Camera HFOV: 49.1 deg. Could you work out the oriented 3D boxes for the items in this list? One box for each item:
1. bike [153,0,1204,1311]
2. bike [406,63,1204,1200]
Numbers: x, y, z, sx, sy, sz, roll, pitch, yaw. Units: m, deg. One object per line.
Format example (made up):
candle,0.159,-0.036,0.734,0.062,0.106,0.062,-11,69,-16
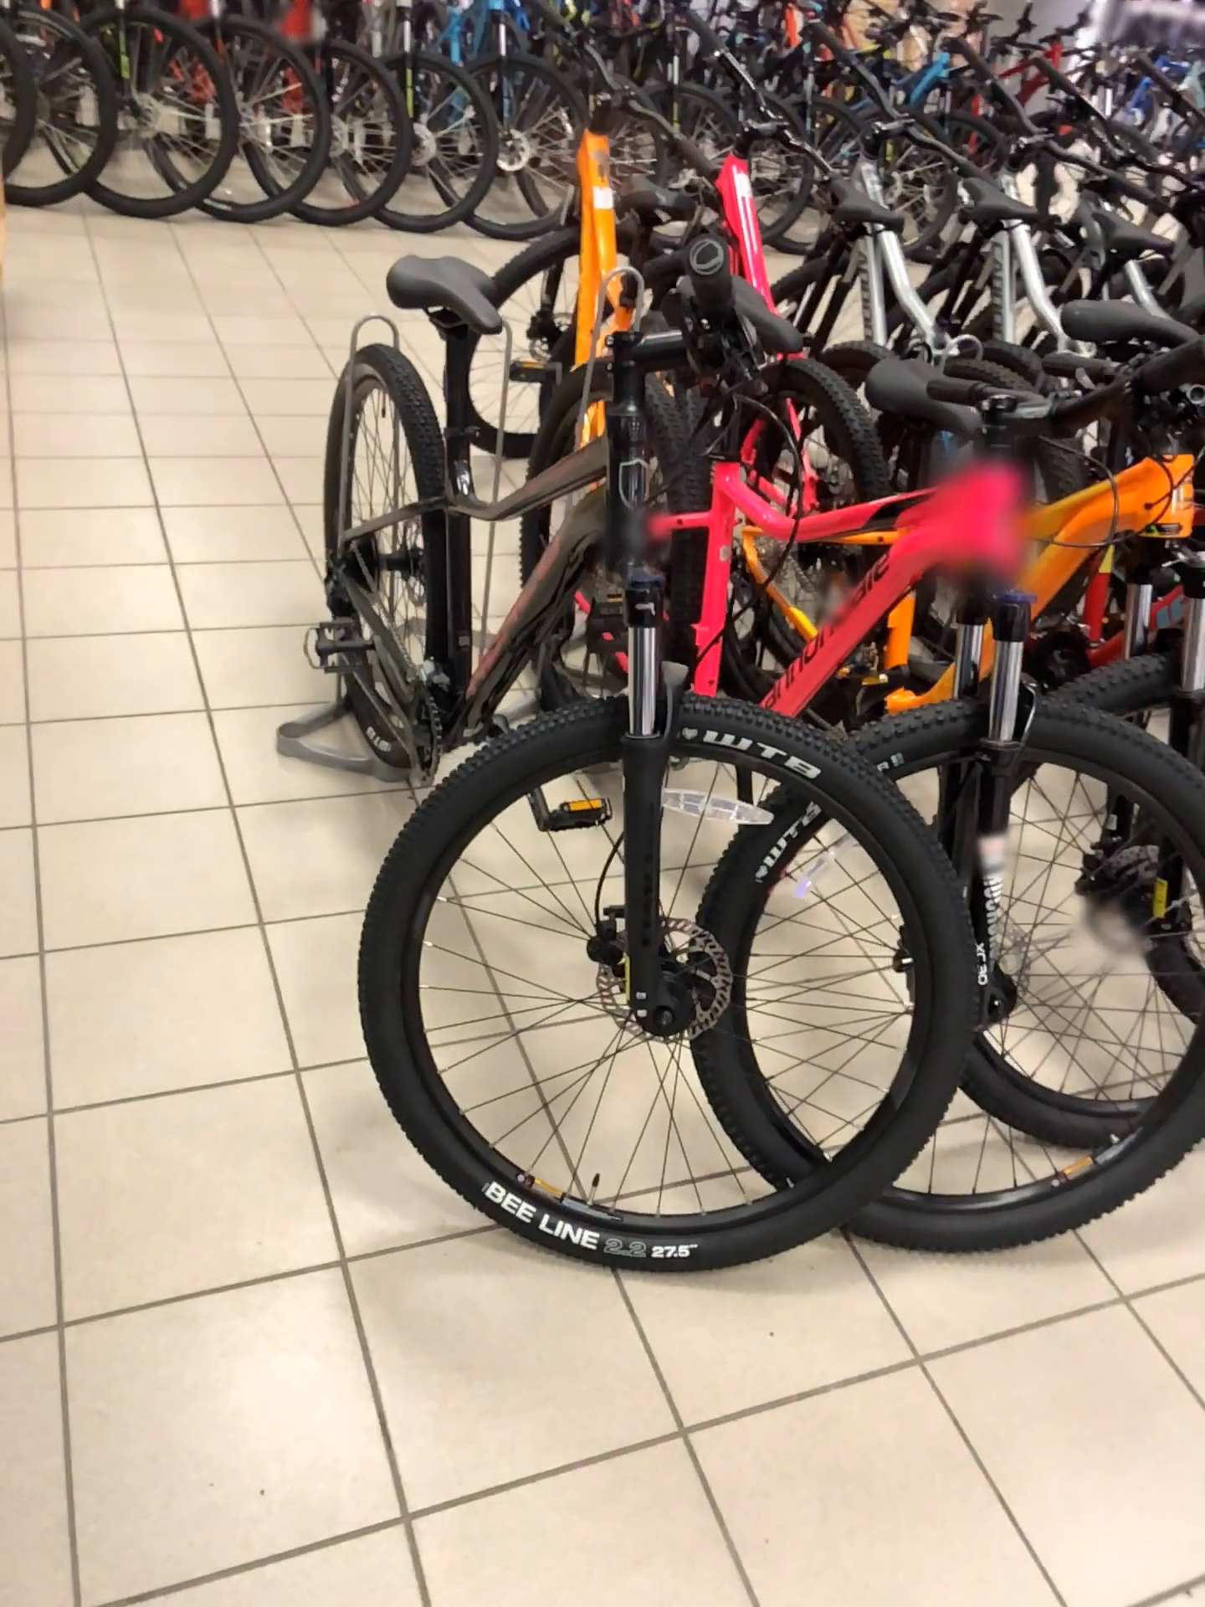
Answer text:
bike,0.047,-0.312,1.891,0.686,1.101,1.584,-14,42,-31
bike,0.435,-0.365,2.000,0.654,1.074,1.569,-14,39,-31
